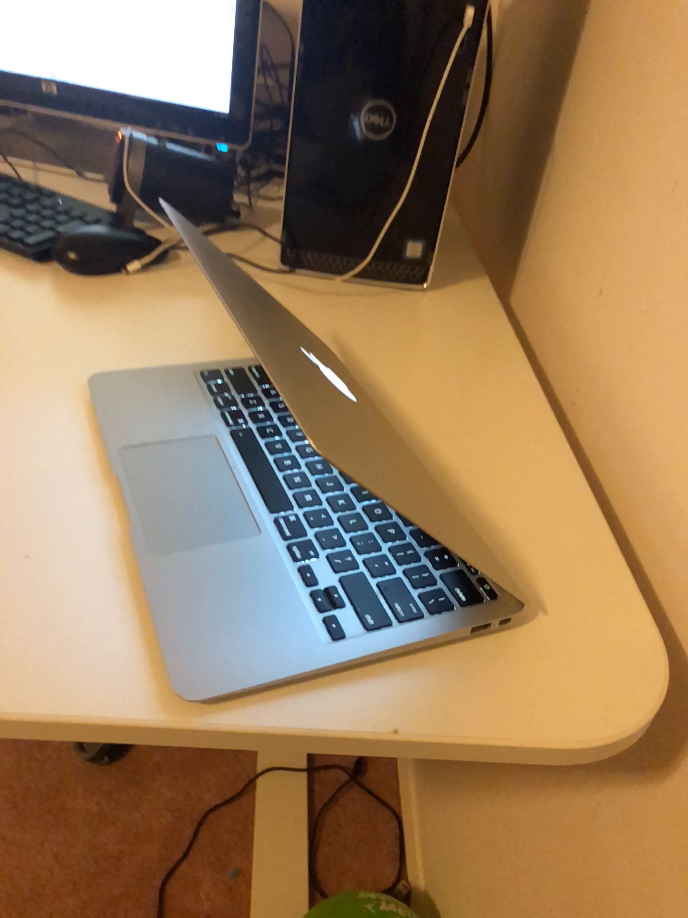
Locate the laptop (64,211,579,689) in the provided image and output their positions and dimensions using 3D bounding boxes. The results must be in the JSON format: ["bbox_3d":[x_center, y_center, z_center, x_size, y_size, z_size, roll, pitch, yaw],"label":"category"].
[{"bbox_3d":[-0.042,-0.037,0.448,0.181,0.108,0.287,-10,41,-23],"label":"laptop"}]
